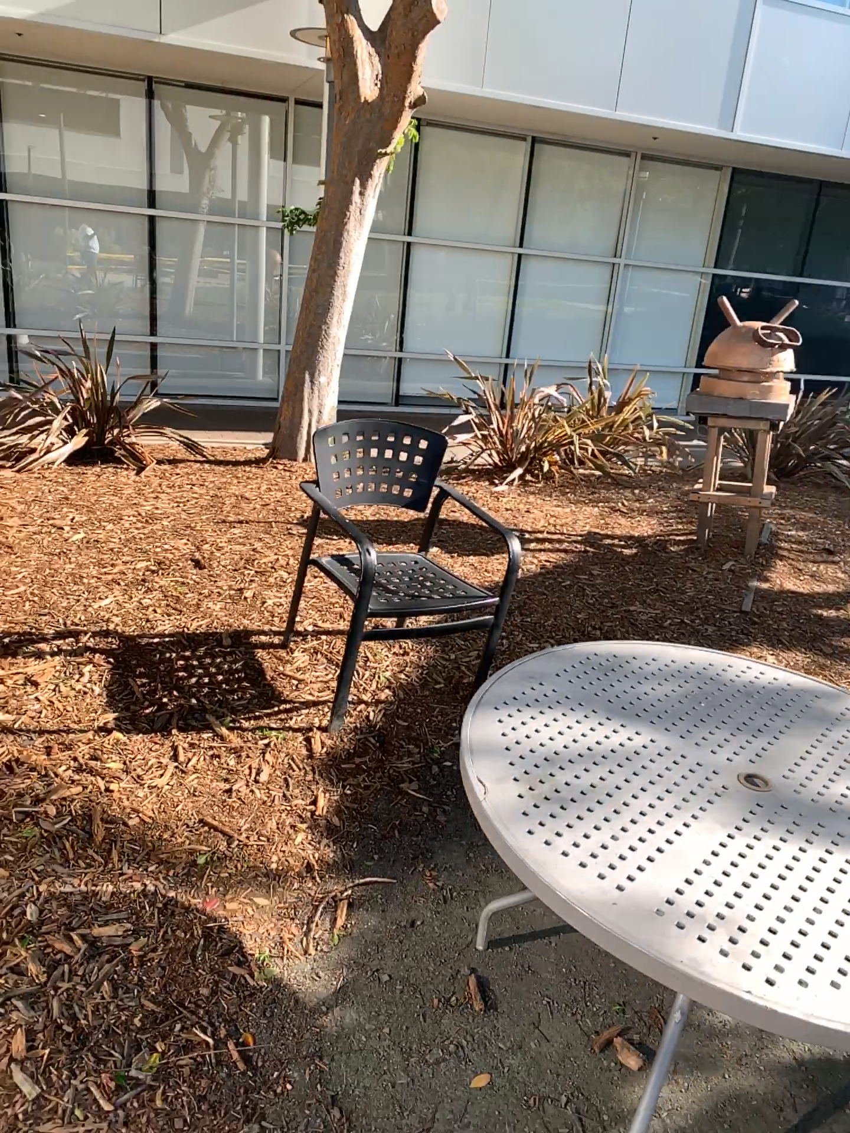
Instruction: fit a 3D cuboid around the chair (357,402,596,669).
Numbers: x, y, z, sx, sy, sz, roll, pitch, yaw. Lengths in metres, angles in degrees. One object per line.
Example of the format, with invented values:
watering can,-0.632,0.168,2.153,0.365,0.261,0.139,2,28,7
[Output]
chair,0.144,-0.134,2.848,0.520,0.717,0.502,-6,22,-30
